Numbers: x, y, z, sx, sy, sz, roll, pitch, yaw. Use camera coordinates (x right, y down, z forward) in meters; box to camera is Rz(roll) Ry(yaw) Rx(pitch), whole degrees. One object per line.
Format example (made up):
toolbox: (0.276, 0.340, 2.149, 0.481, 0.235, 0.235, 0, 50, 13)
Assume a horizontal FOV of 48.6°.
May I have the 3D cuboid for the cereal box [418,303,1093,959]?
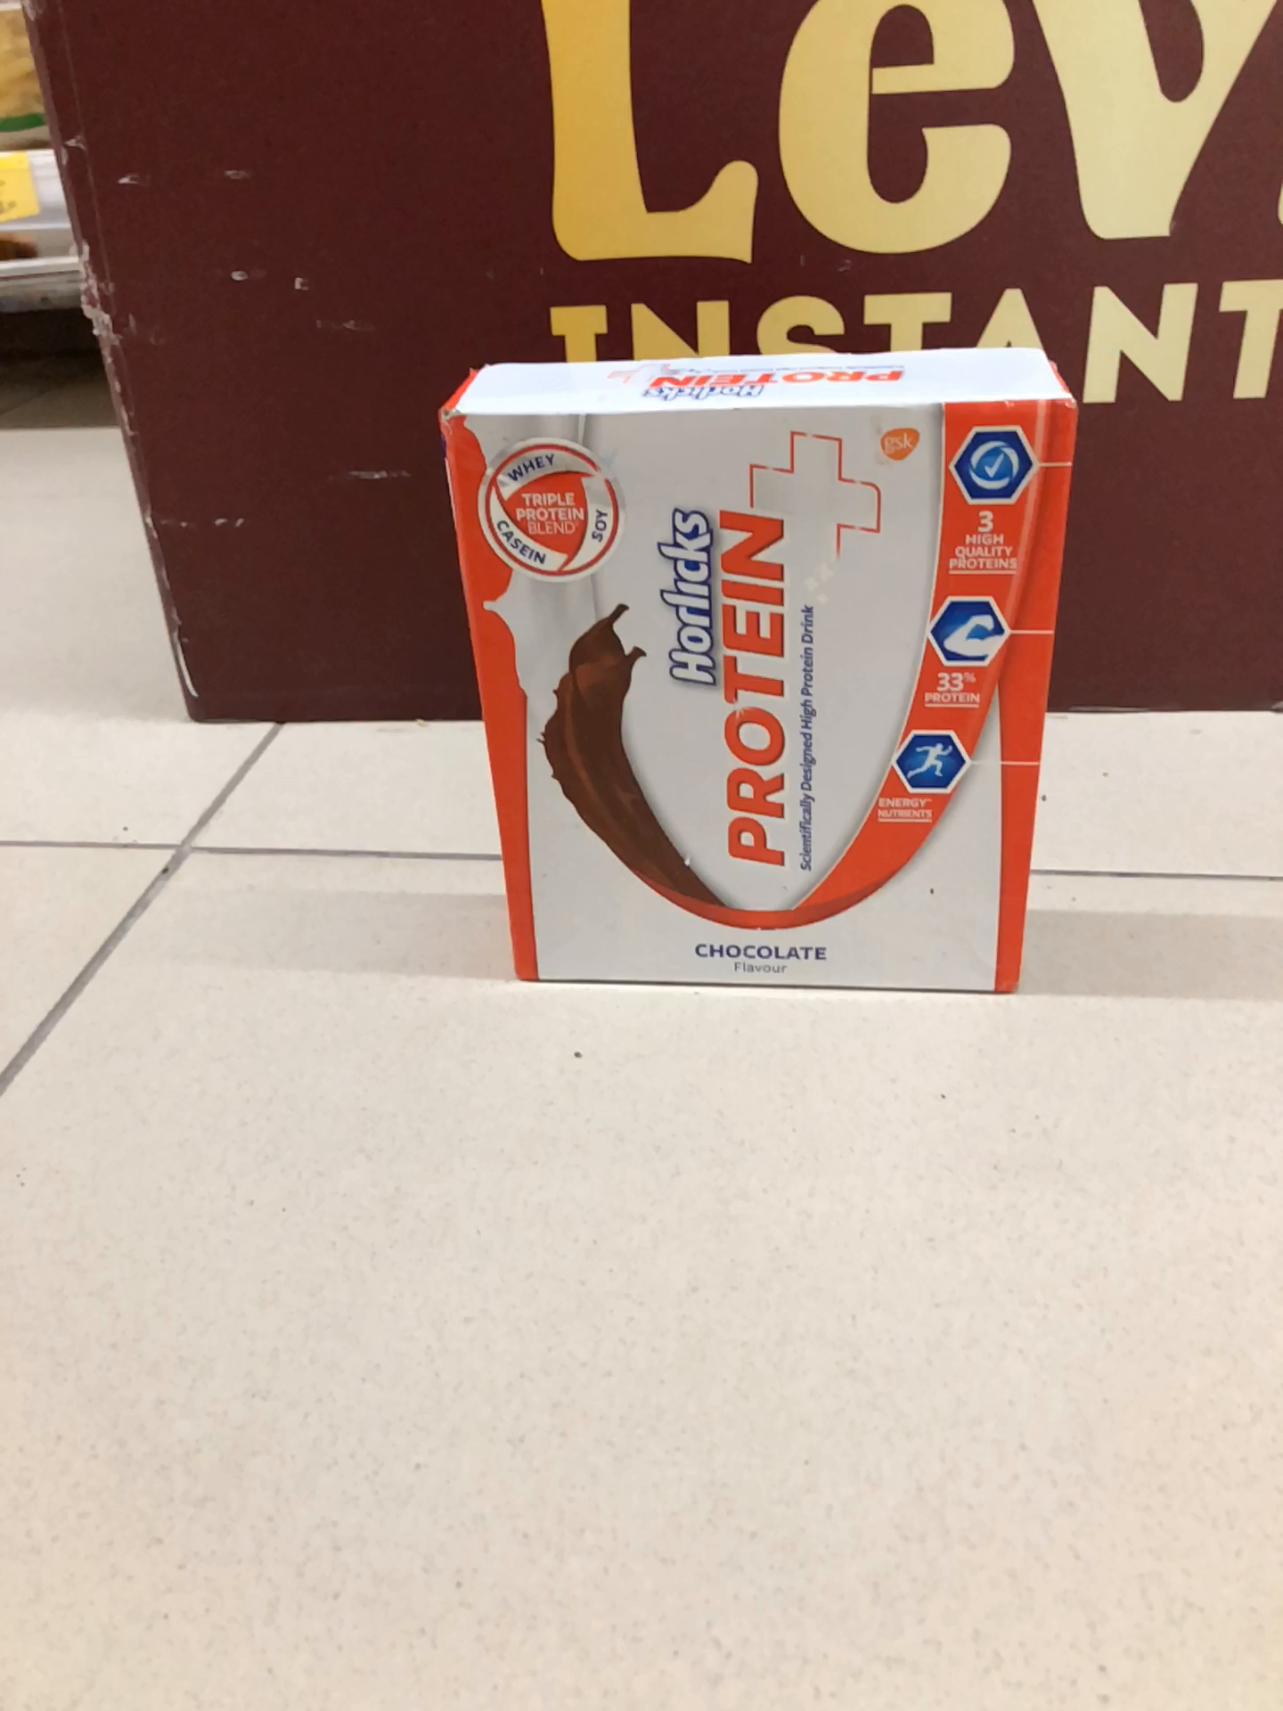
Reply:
cereal box: (0.029, -0.052, 0.354, 0.140, 0.149, 0.050, 1, 31, 7)
